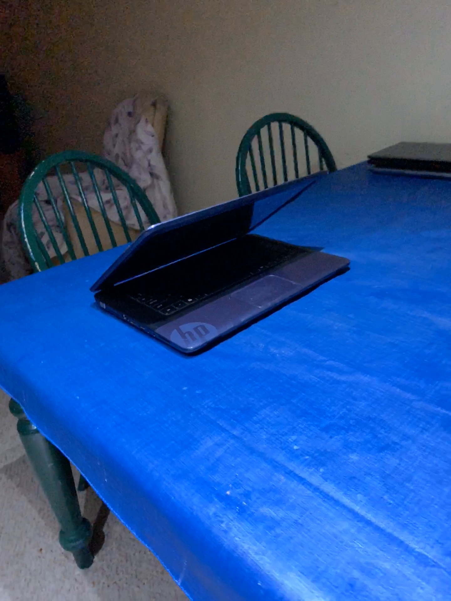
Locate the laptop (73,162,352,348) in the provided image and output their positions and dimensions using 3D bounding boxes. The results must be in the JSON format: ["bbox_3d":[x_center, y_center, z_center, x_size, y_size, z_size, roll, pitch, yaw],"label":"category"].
[{"bbox_3d":[-0.006,-0.105,0.739,0.364,0.141,0.240,-27,34,-36],"label":"laptop"}]
